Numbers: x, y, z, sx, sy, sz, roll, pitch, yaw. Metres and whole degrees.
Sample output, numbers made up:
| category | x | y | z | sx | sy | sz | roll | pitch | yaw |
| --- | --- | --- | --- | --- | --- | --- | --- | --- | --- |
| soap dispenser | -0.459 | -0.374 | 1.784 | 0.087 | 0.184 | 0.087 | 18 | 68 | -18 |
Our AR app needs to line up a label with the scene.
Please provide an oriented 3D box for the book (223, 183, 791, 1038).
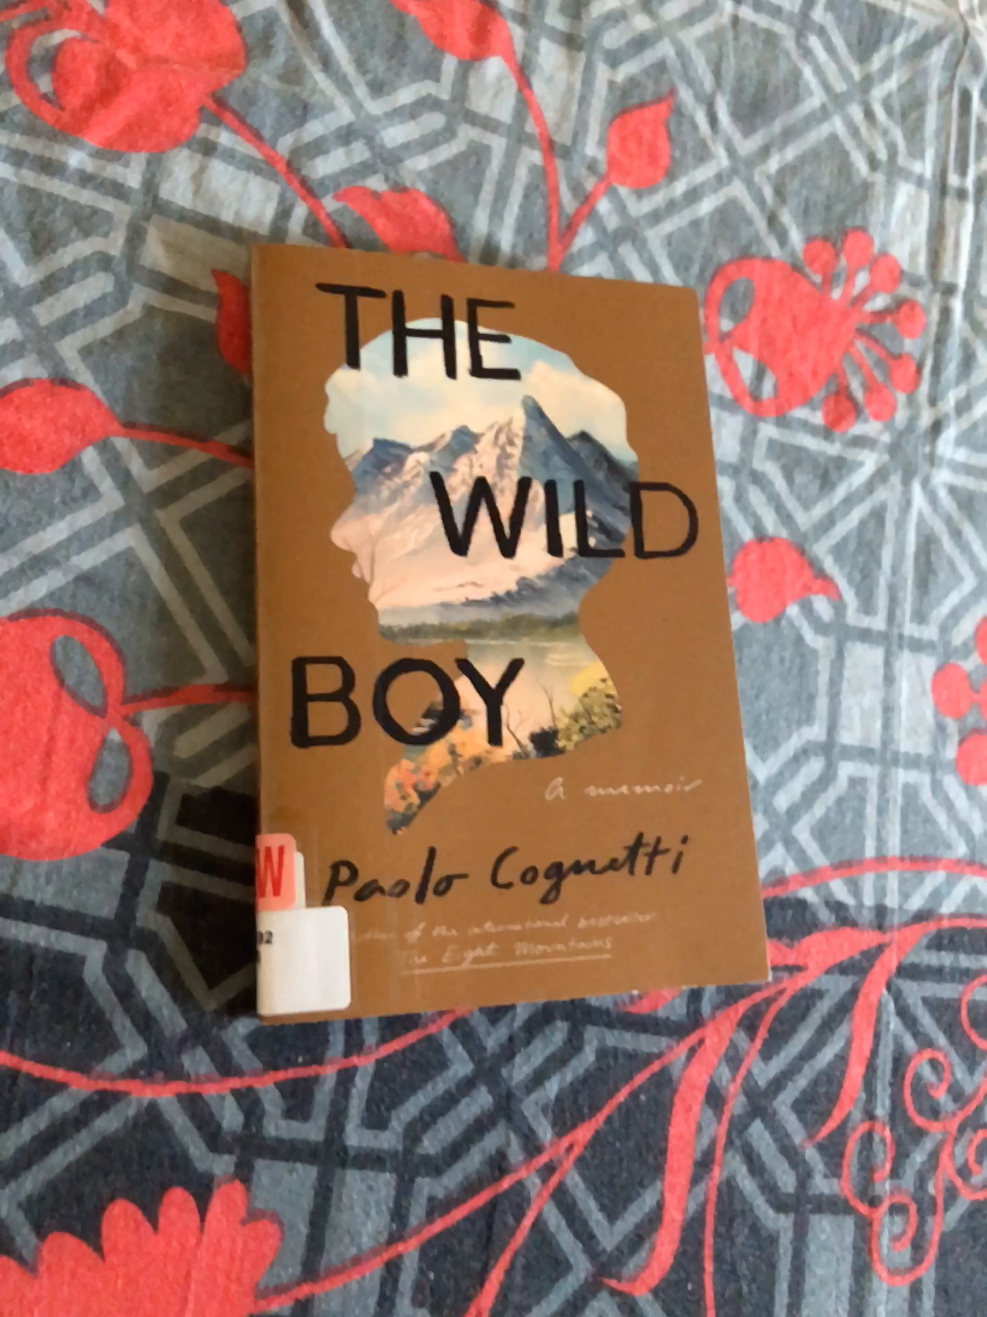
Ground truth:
| category | x | y | z | sx | sy | sz | roll | pitch | yaw |
| --- | --- | --- | --- | --- | --- | --- | --- | --- | --- |
| book | 0.000 | -0.018 | 0.322 | 0.150 | 0.030 | 0.230 | -1 | 79 | -15 |
